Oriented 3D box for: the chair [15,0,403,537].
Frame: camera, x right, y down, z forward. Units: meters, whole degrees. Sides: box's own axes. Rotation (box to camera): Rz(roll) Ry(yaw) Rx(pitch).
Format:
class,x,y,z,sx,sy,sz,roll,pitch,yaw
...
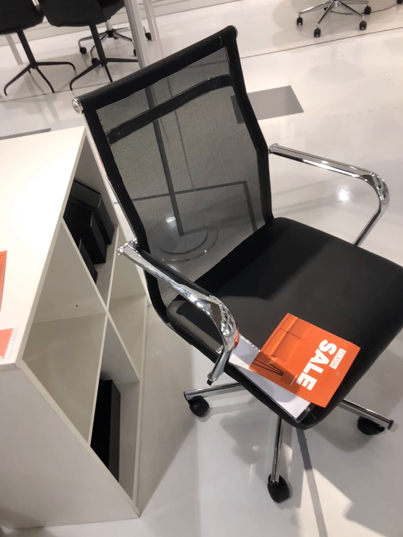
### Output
class,x,y,z,sx,sy,sz,roll,pitch,yaw
chair,0.204,0.005,1.018,0.612,0.992,0.623,-39,50,-25
